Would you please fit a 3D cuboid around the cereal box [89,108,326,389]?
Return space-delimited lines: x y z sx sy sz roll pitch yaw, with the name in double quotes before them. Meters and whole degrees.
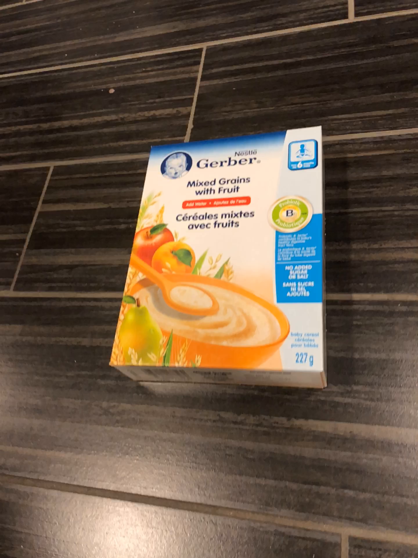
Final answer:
"cereal box" 0.008 -0.026 0.350 0.150 0.050 0.200 -2 64 16
